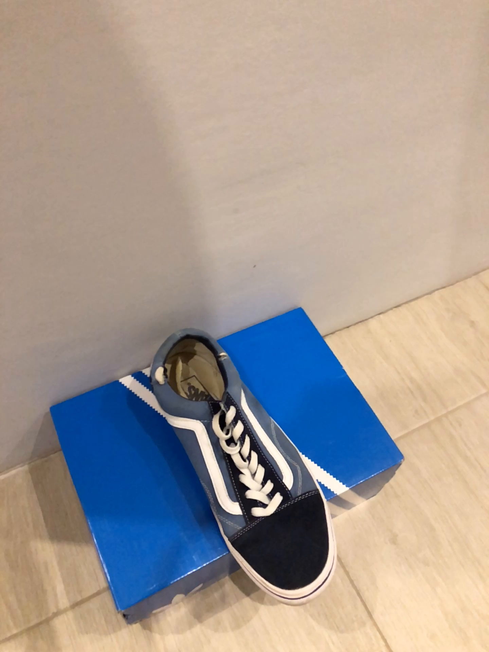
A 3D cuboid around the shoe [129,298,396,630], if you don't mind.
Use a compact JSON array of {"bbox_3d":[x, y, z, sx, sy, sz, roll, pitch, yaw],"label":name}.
[{"bbox_3d":[0.002,0.116,0.513,0.110,0.080,0.281,-24,60,-19],"label":"shoe"}]
